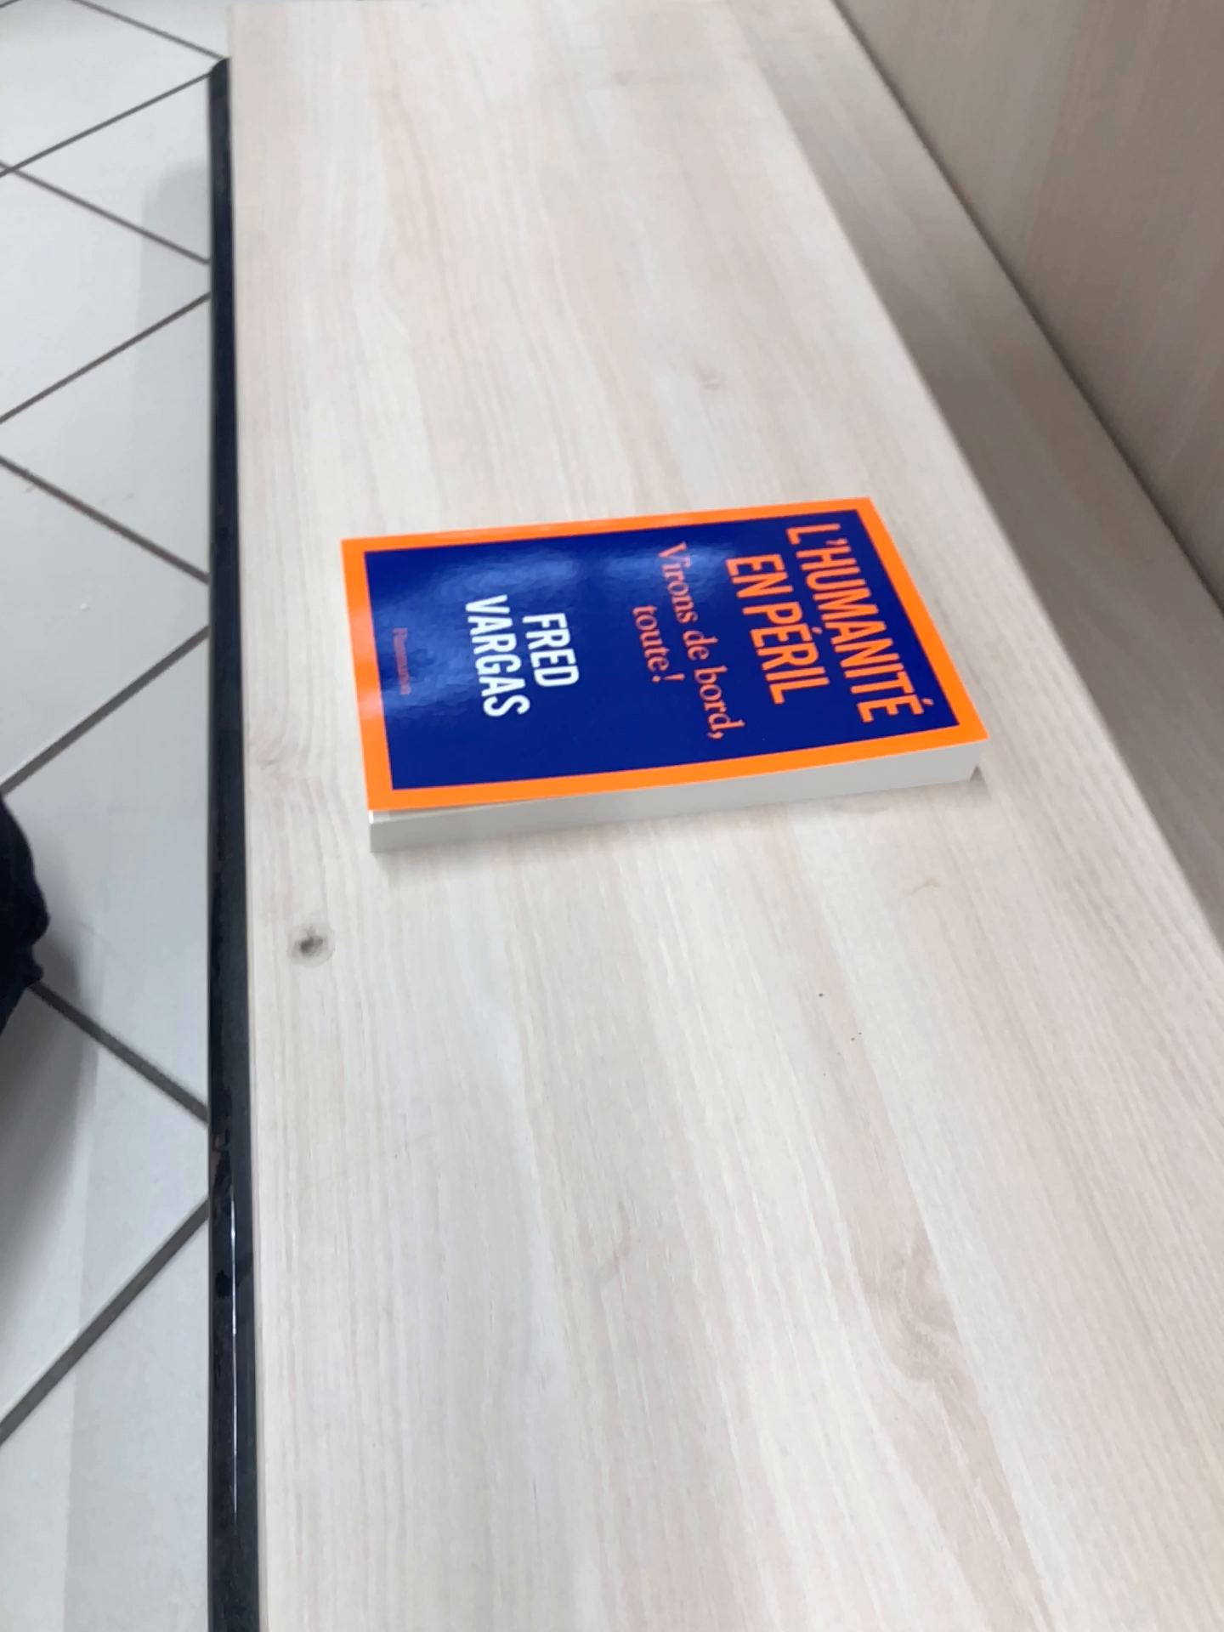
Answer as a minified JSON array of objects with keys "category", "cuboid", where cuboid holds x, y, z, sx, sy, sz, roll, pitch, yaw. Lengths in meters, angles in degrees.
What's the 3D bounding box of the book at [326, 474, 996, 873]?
[{"category":"book","cuboid":[0.010,-0.057,0.477,0.207,0.030,0.138,-7,53,-10]}]
